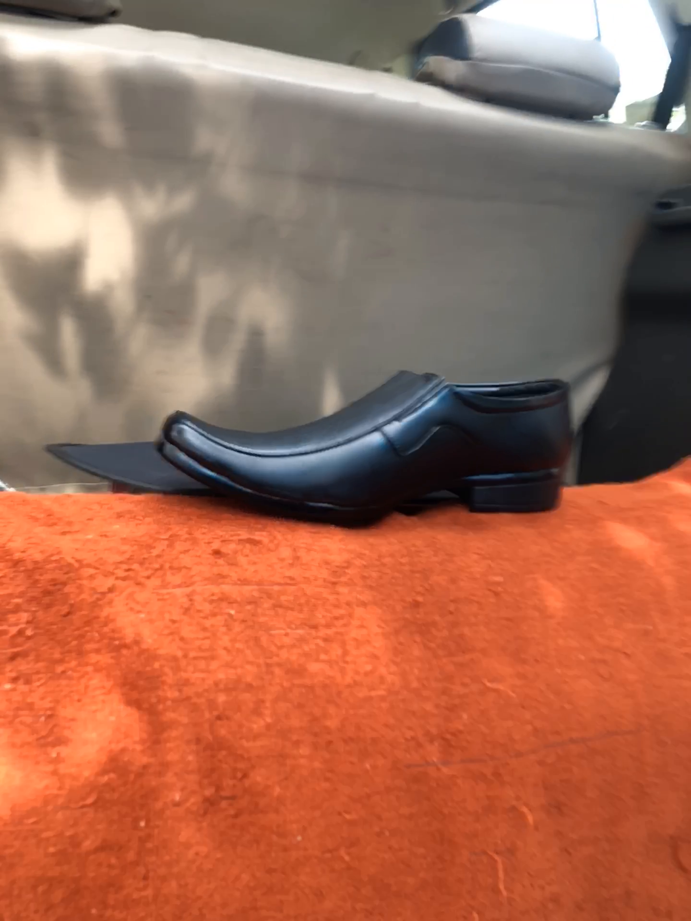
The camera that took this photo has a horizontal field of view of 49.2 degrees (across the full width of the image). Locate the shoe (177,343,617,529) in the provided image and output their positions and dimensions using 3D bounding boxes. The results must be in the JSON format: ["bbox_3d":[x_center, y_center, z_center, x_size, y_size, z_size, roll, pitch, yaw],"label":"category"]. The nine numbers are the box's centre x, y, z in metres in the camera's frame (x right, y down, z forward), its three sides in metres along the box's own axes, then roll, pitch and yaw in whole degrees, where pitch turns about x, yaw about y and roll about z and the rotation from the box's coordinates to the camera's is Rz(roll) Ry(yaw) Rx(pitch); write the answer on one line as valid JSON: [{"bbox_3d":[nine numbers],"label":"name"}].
[{"bbox_3d":[0.026,-0.024,0.576,0.290,0.100,0.160,3,12,-10],"label":"shoe"}]
